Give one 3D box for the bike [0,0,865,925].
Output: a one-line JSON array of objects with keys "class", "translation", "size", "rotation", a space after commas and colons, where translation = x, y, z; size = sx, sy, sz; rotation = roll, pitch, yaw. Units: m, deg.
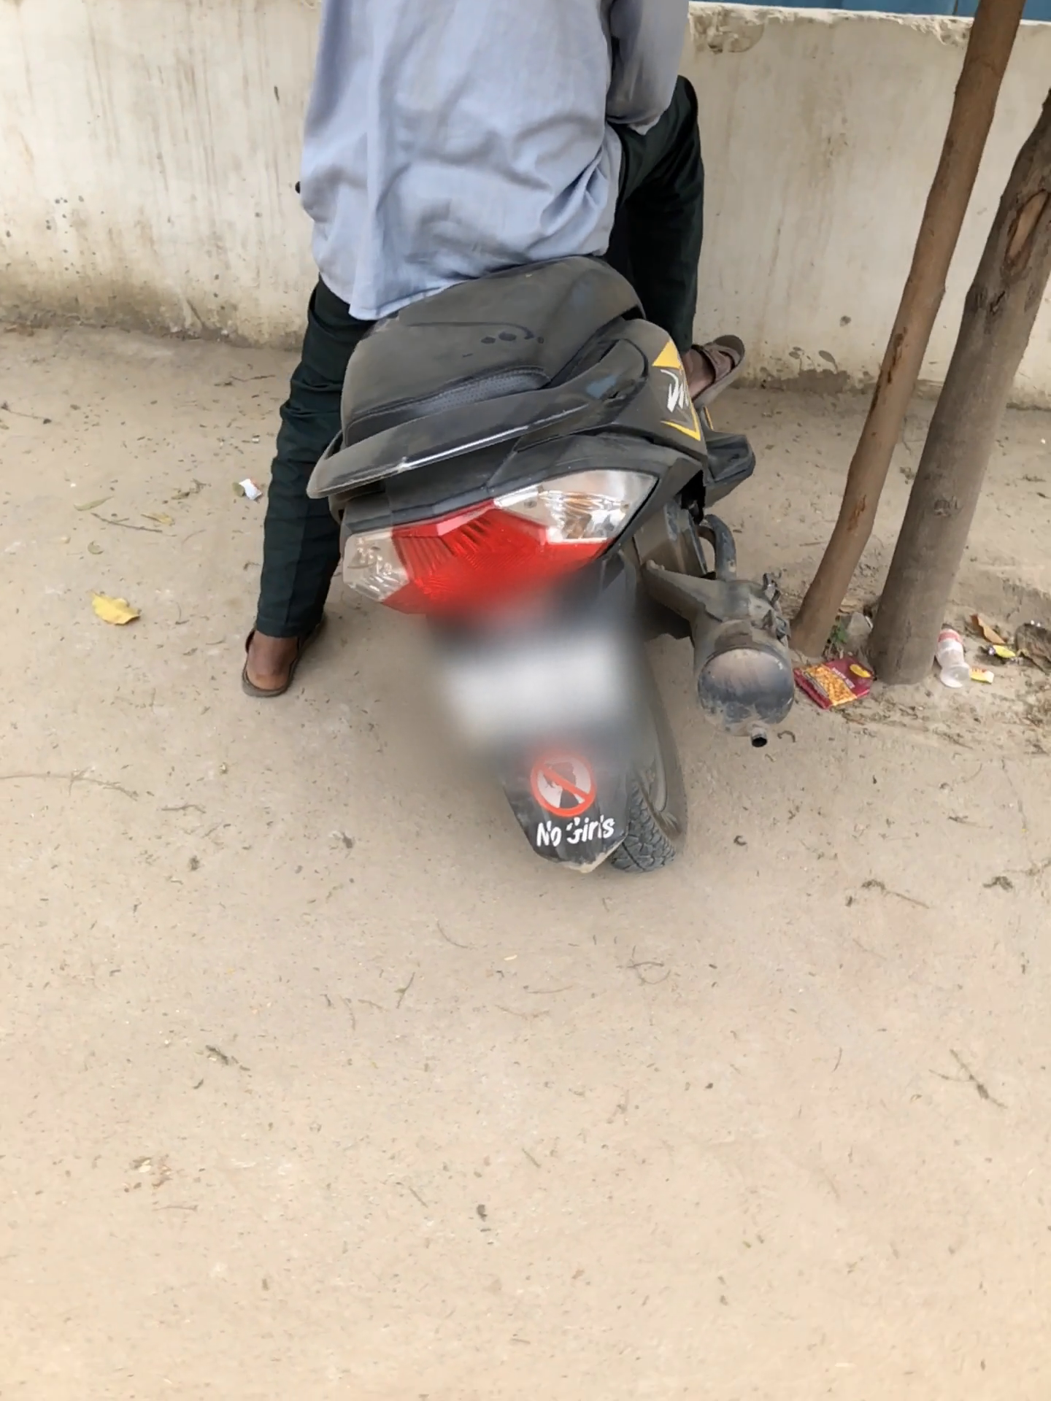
[{"class": "bike", "translation": [-0.126, -0.683, 1.778], "size": [0.634, 1.144, 1.581], "rotation": [0, 39, -4]}]
